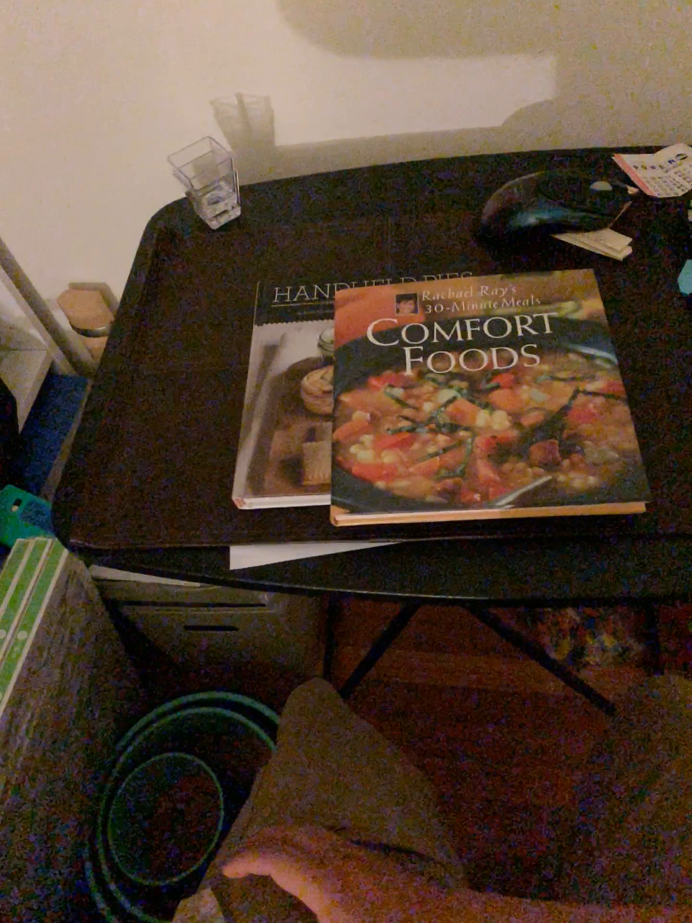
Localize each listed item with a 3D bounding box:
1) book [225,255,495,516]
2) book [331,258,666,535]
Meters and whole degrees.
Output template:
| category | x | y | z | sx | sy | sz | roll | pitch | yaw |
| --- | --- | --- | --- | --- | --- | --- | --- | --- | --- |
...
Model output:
| category | x | y | z | sx | sy | sz | roll | pitch | yaw |
| --- | --- | --- | --- | --- | --- | --- | --- | --- | --- |
| book | 0.010 | -0.065 | 0.538 | 0.180 | 0.020 | 0.221 | -4 | 56 | 7 |
| book | 0.091 | -0.053 | 0.498 | 0.200 | 0.020 | 0.211 | -4 | 56 | 7 |
